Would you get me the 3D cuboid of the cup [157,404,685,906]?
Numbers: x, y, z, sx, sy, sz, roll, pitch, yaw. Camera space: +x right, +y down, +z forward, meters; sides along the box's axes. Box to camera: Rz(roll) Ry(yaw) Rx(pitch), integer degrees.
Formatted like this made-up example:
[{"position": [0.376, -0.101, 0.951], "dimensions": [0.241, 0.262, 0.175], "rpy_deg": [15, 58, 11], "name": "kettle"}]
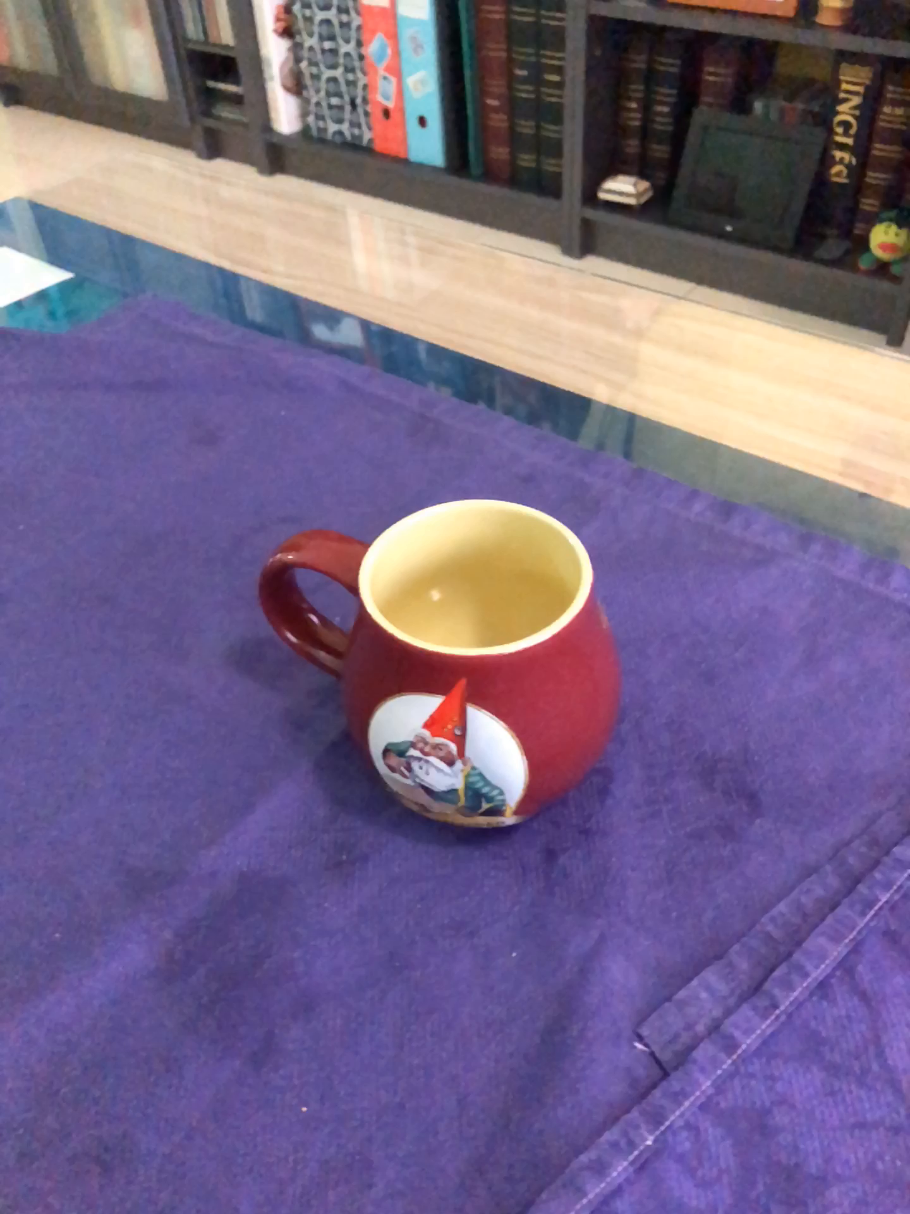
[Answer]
[{"position": [-0.006, 0.010, 0.306], "dimensions": [0.120, 0.090, 0.080], "rpy_deg": [18, 47, 23], "name": "cup"}]
